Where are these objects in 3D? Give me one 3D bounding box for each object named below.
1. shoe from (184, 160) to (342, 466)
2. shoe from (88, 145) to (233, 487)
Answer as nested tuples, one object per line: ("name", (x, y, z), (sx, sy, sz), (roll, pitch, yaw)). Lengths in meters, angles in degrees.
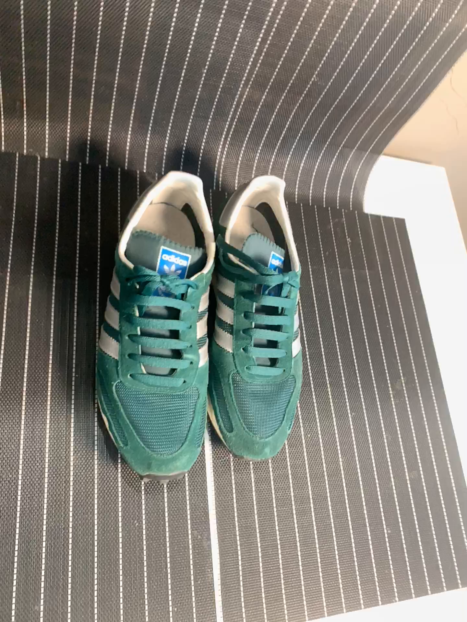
("shoe", (0.017, 0.007, 0.494), (0.100, 0.120, 0.280), (4, 69, -21))
("shoe", (-0.071, 0.004, 0.443), (0.100, 0.090, 0.290), (4, 69, -21))
